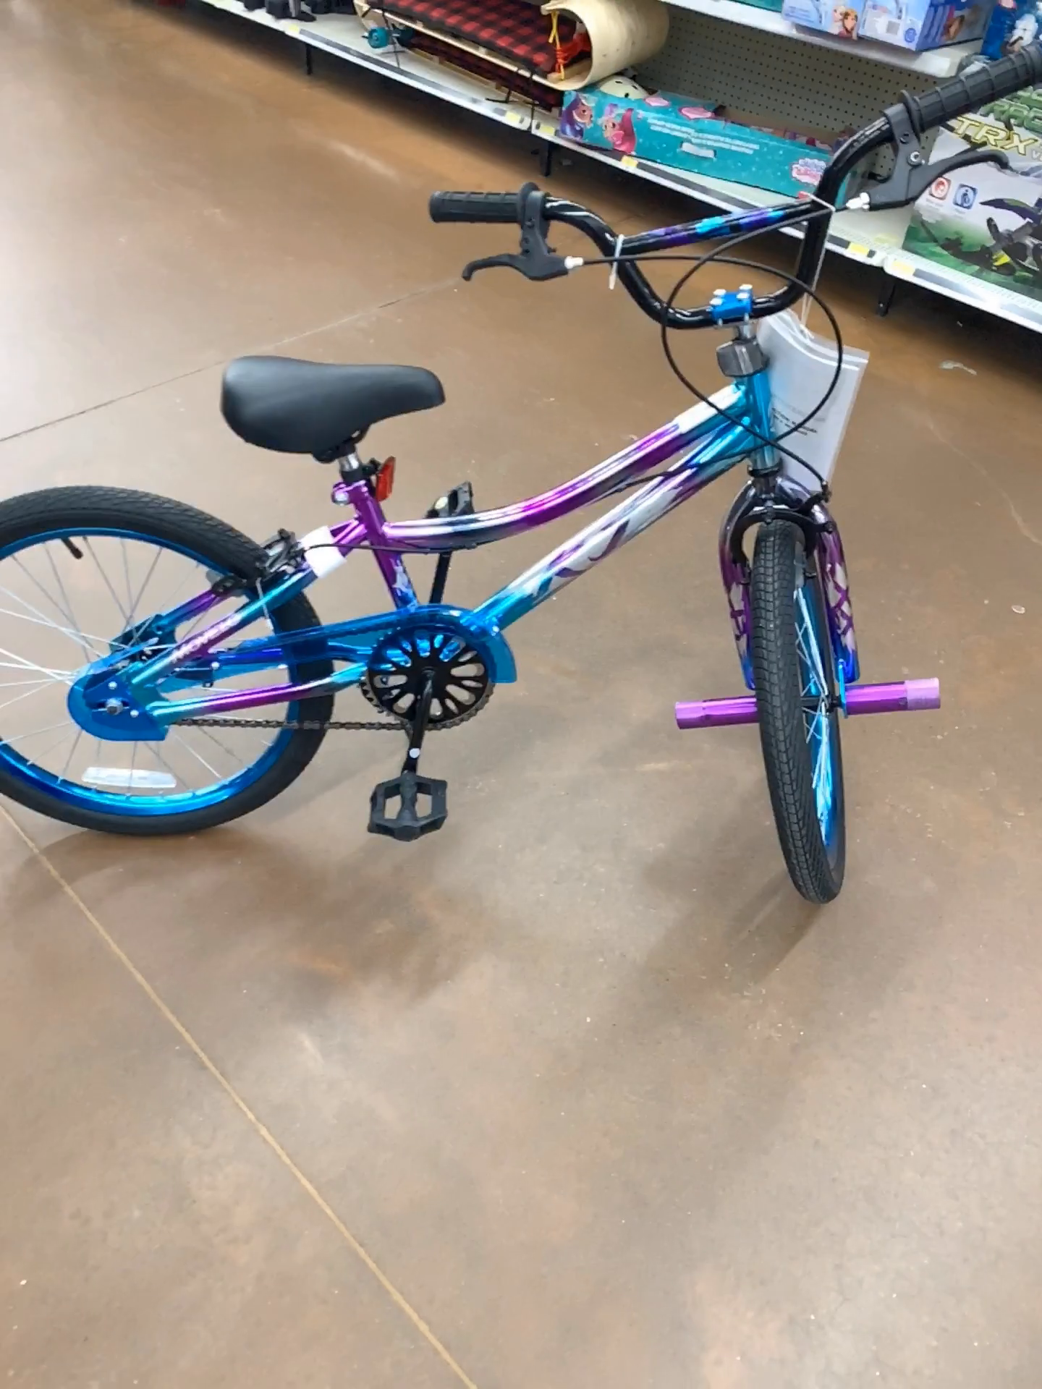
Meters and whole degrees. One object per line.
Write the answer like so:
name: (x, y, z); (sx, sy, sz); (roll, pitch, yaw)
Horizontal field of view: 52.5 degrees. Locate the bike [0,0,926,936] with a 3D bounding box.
bike: (-0.236, -0.245, 1.166); (0.933, 0.931, 0.580); (2, 44, -4)
